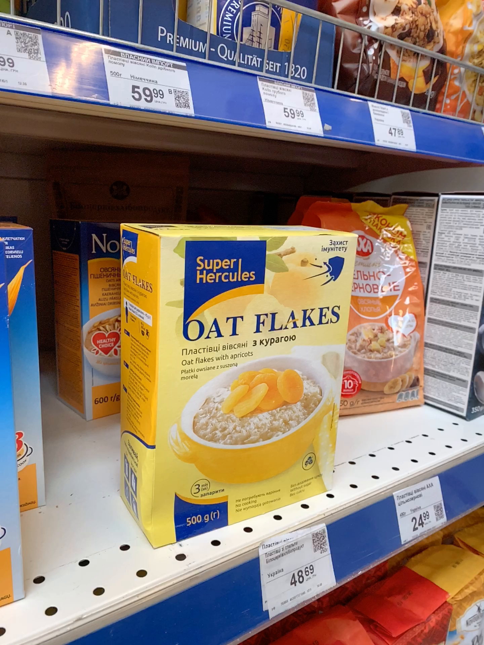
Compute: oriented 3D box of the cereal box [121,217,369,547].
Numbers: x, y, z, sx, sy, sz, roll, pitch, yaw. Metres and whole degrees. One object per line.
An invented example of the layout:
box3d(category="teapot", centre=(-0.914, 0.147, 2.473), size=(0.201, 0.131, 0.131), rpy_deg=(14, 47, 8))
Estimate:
box3d(category="cereal box", centre=(0.001, 0.028, 0.342), size=(0.150, 0.189, 0.060), rpy_deg=(-5, 15, -32))
